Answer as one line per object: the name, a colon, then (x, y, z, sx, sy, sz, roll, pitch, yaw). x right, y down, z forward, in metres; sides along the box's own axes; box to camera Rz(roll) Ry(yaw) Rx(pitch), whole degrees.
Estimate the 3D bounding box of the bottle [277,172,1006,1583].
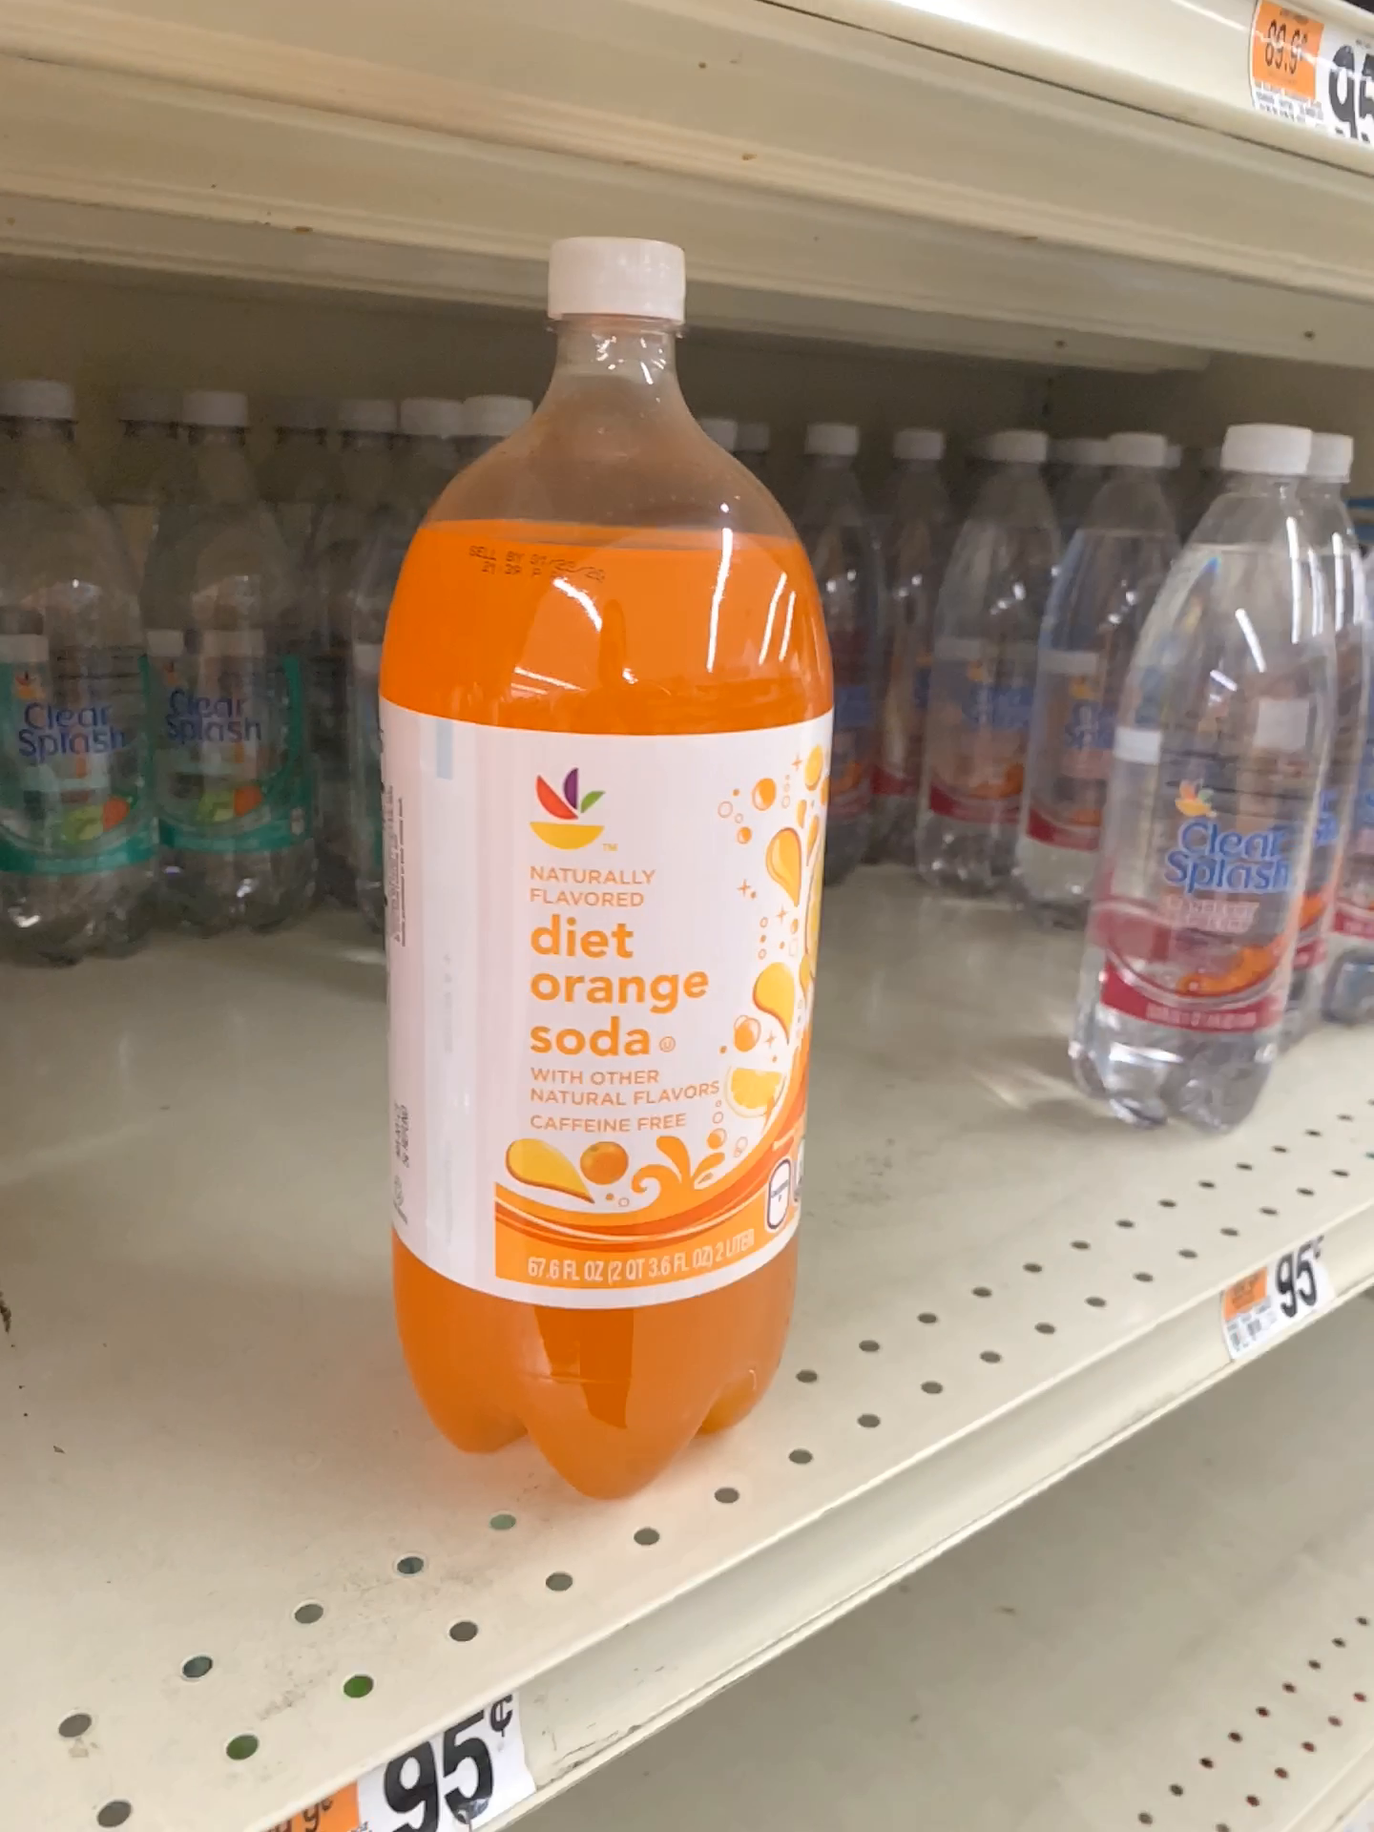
bottle: (-0.021, -0.009, 0.351, 0.120, 0.289, 0.110, 3, 18, -1)
